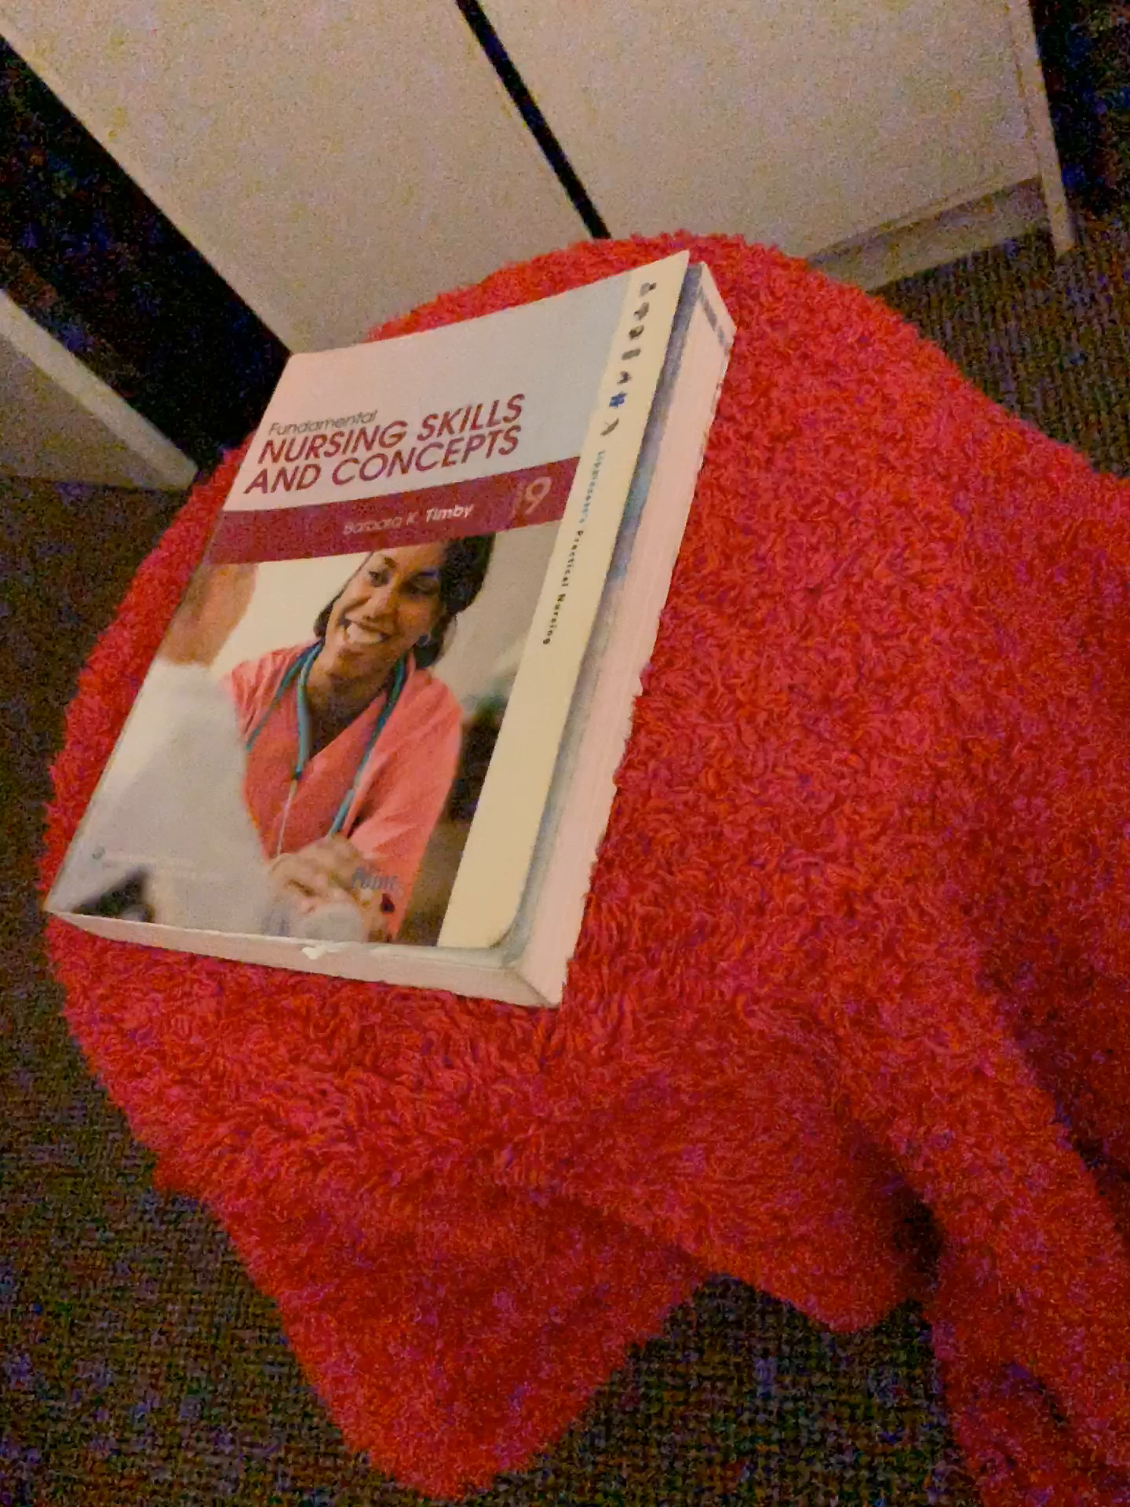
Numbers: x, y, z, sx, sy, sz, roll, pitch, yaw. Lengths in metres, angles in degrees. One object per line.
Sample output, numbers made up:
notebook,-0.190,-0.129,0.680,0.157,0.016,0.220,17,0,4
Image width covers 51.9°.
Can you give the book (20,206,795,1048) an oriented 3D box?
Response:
book,-0.055,-0.056,0.463,0.231,0.069,0.301,0,61,33
